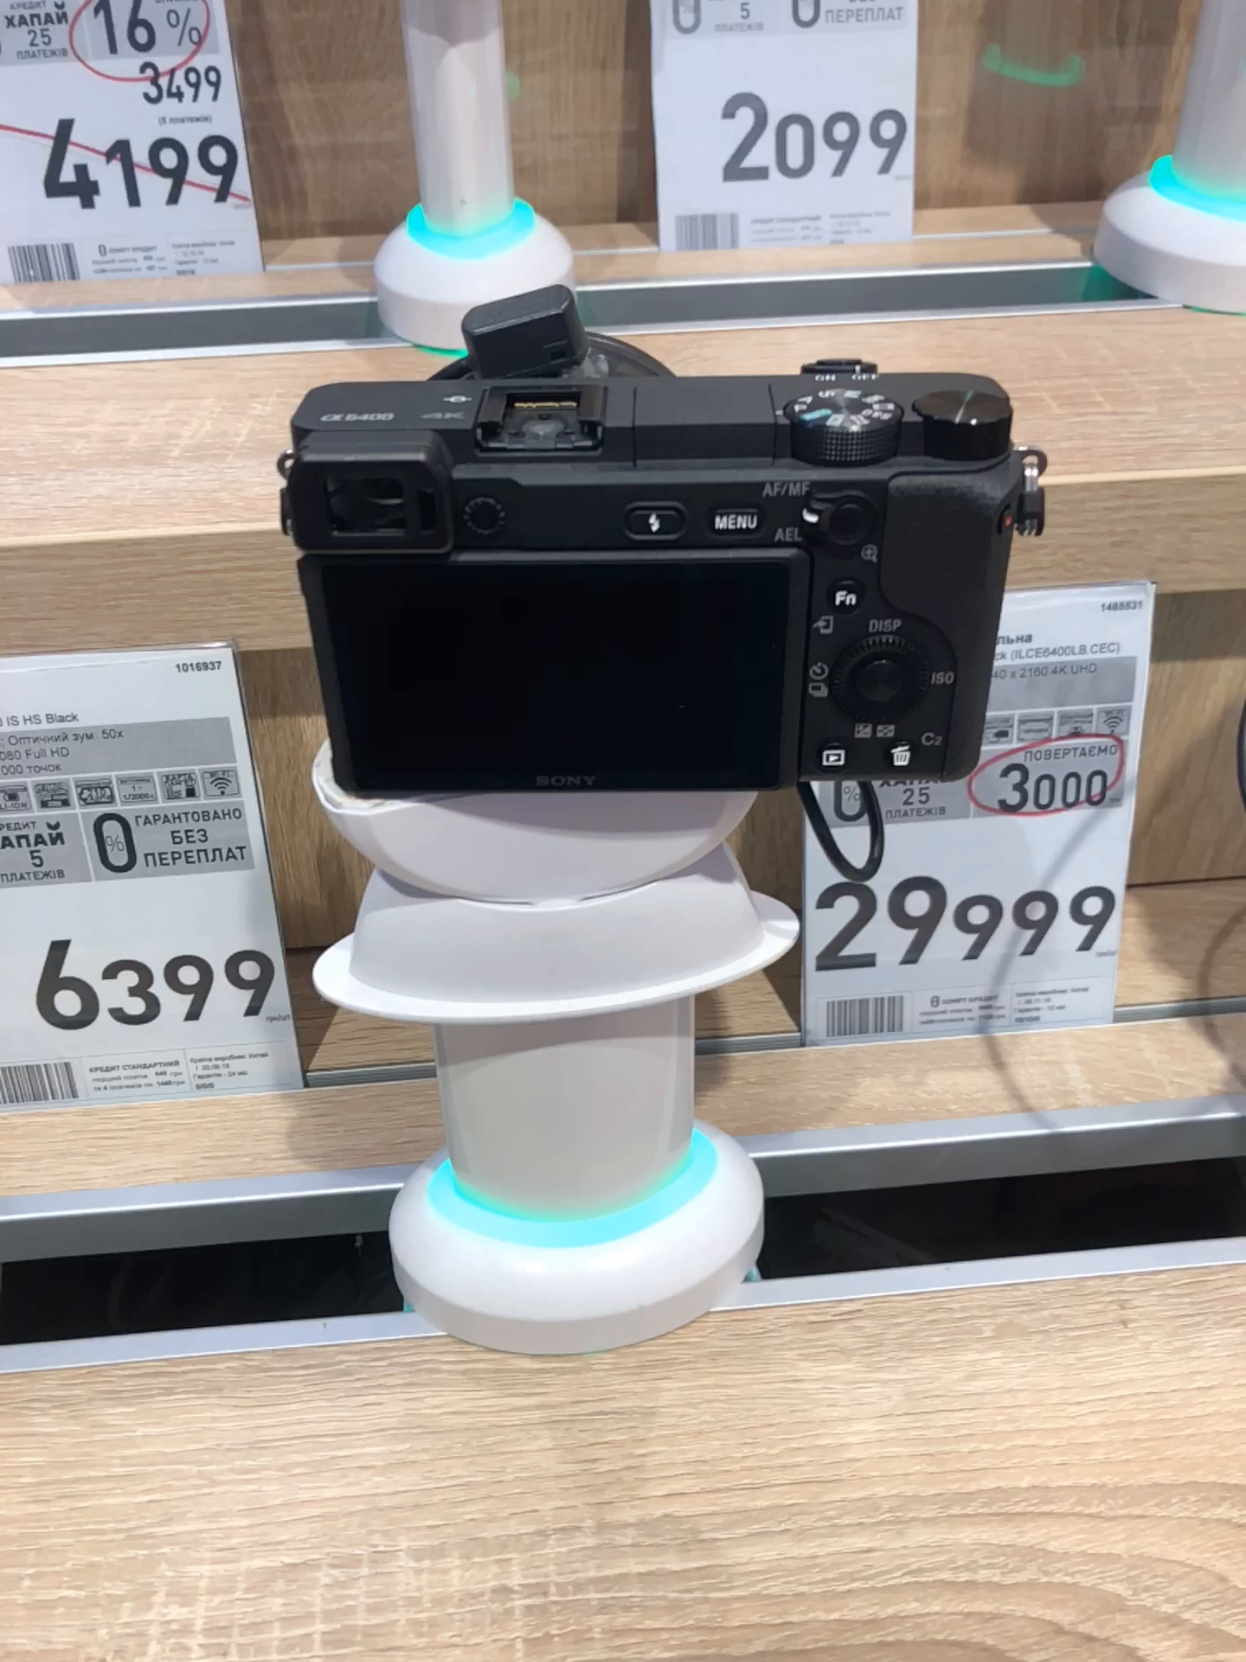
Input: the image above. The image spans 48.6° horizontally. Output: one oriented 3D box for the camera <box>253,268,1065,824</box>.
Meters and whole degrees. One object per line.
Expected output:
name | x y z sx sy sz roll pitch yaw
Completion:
camera | 0.006 -0.059 0.267 0.122 0.069 0.098 -1 36 1
